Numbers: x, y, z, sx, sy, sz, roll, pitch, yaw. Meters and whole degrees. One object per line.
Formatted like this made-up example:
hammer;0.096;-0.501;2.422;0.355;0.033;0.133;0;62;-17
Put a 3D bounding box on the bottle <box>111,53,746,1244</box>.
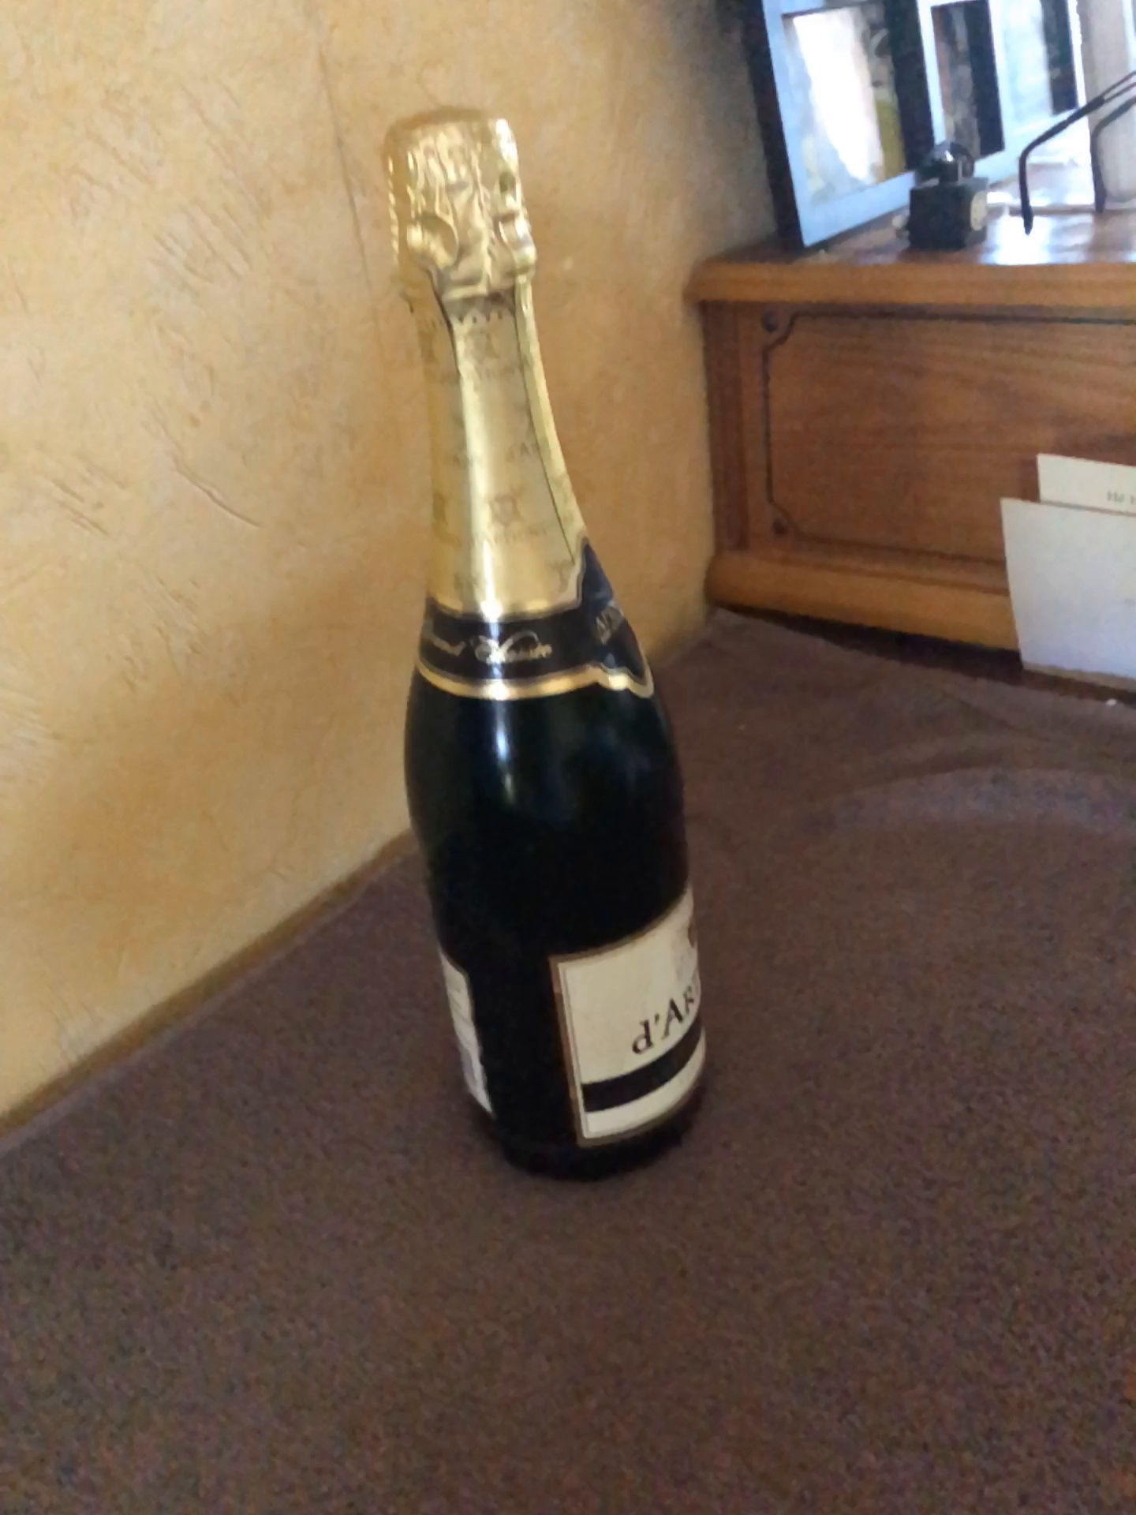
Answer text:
bottle;-0.015;-0.016;0.367;0.100;0.318;0.101;-6;30;3
